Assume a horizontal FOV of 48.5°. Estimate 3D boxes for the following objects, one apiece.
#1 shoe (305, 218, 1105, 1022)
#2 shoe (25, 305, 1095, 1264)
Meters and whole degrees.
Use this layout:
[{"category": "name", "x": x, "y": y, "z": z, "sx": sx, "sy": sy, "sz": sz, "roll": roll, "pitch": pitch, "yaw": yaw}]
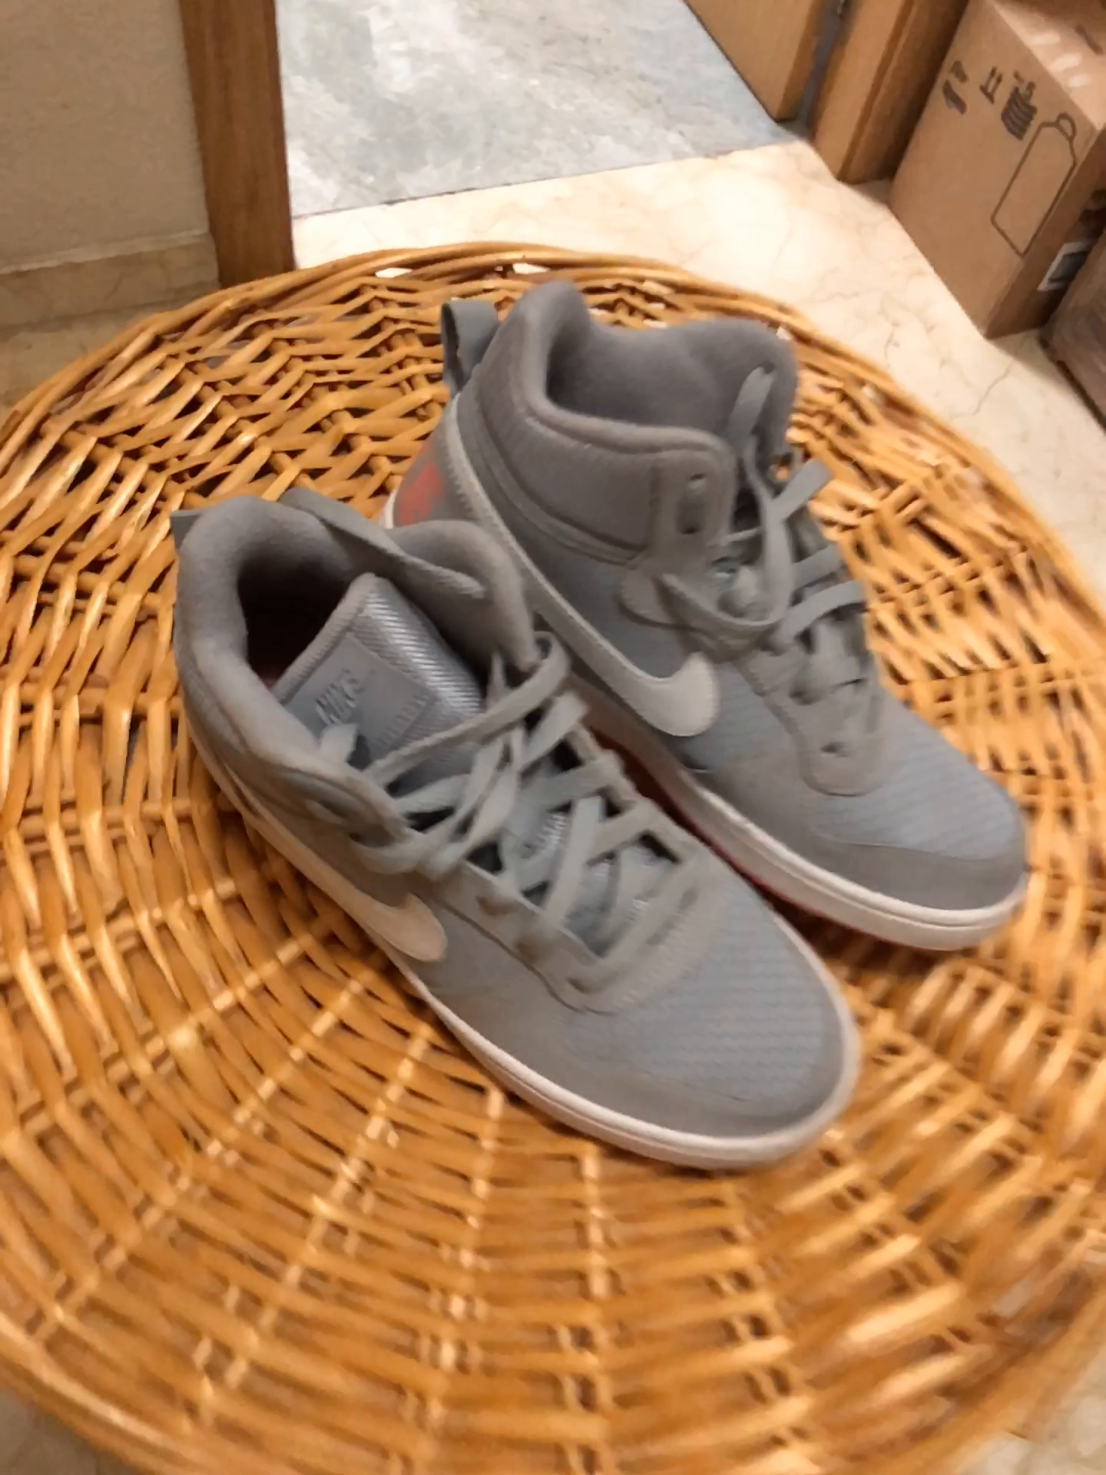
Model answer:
[{"category": "shoe", "x": 0.055, "y": -0.040, "z": 0.393, "sx": 0.247, "sy": 0.117, "sz": 0.099, "roll": 32, "pitch": 51, "yaw": 9}, {"category": "shoe", "x": -0.006, "y": 0.019, "z": 0.349, "sx": 0.251, "sy": 0.120, "sz": 0.105, "roll": 38, "pitch": 62, "yaw": 6}]
